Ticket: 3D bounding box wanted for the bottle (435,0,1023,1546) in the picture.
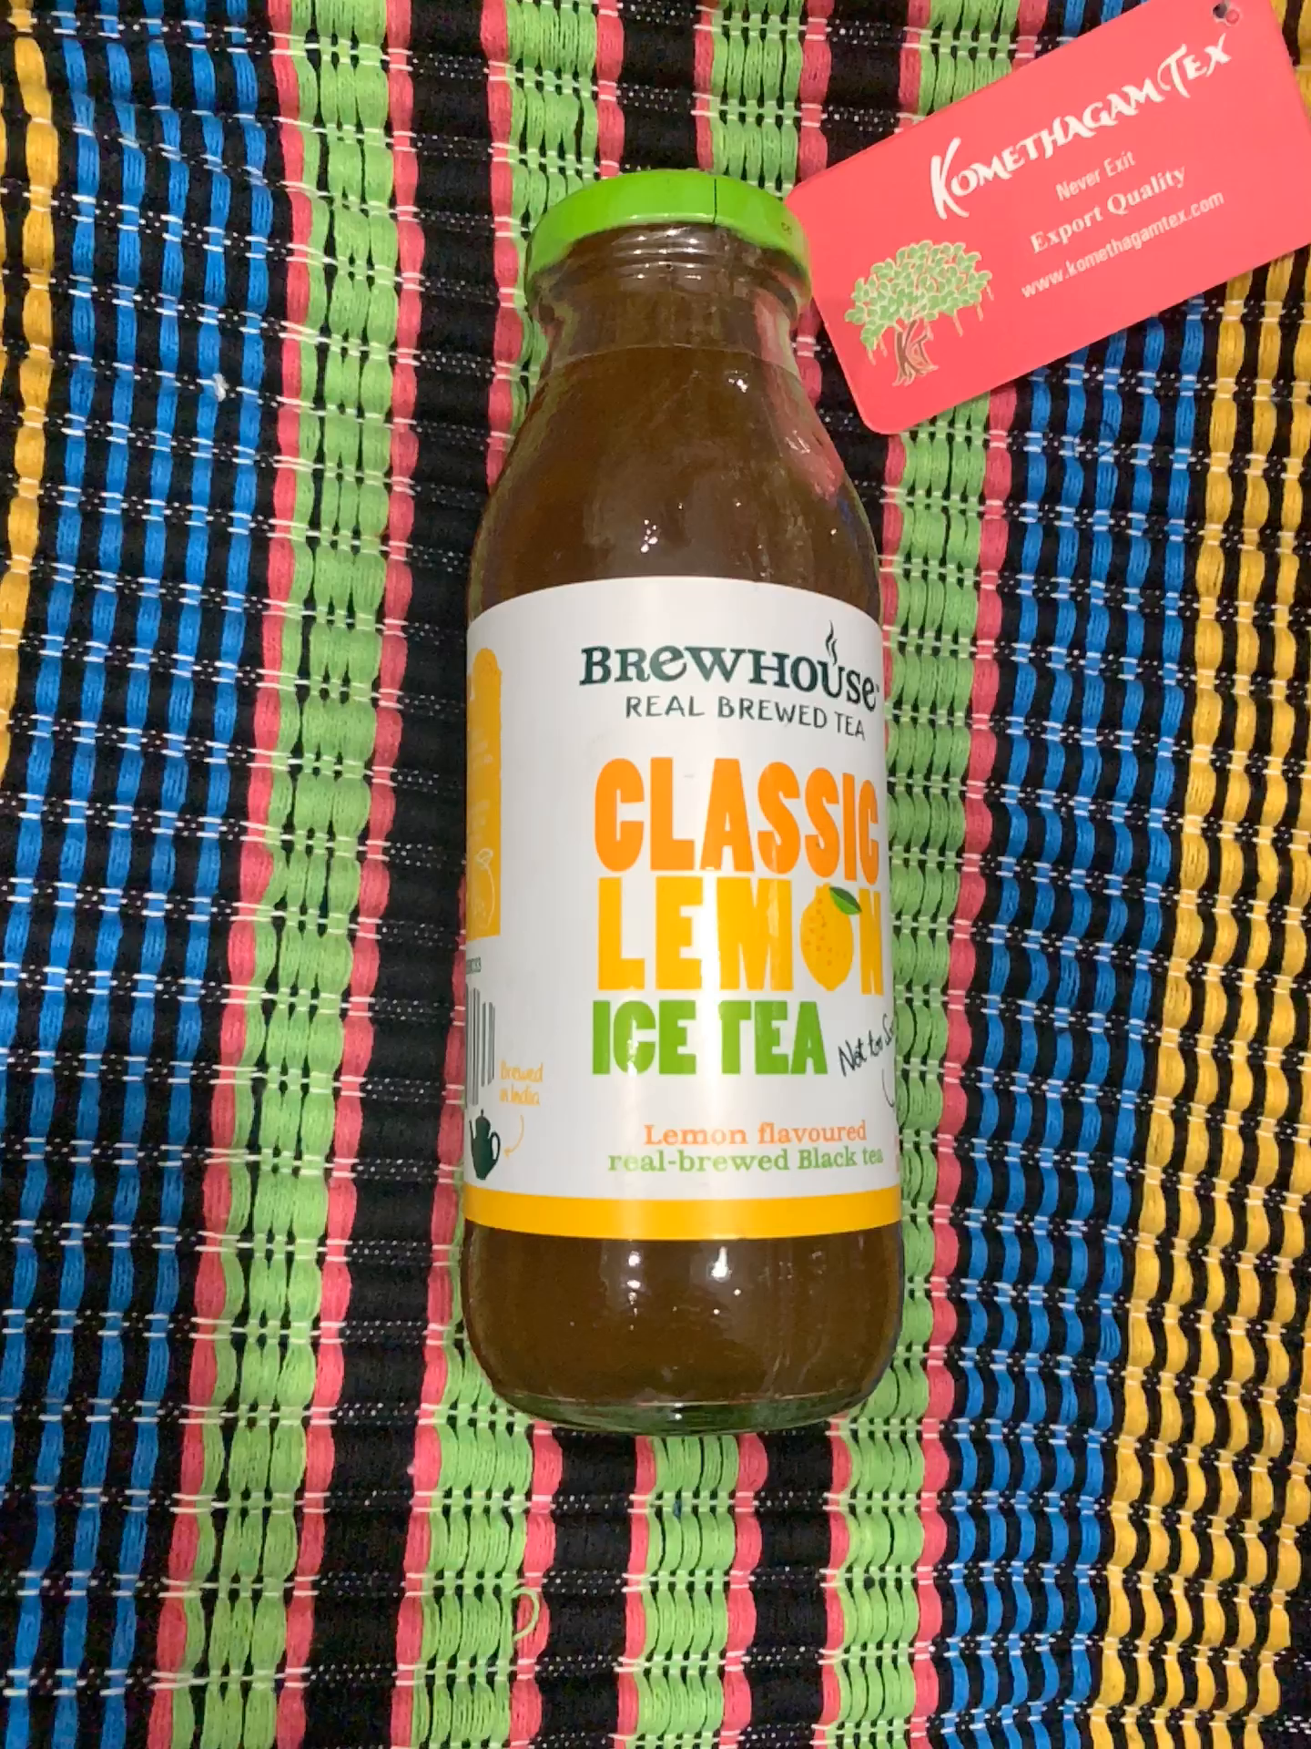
[{"bbox_3d":[0.005,-0.015,0.188,0.060,0.050,0.180,1,82,-19],"label":"bottle"}]
